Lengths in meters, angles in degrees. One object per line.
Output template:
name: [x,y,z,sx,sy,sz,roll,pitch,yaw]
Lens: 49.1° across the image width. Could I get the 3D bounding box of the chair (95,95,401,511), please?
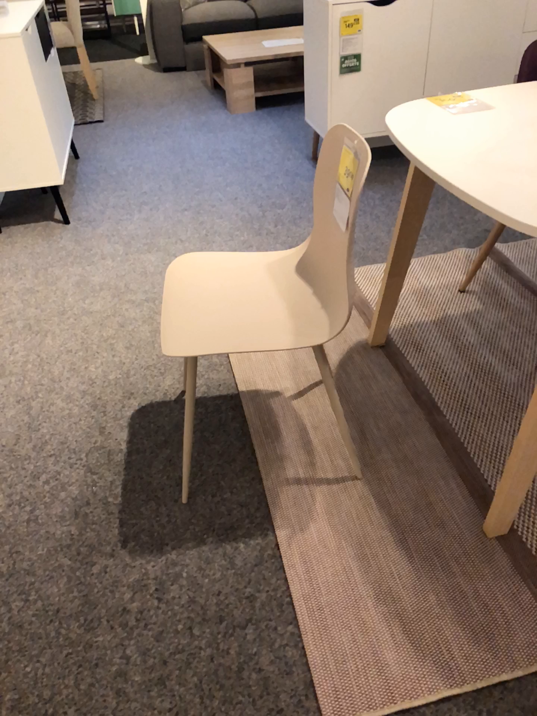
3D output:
chair: [-0.046,-0.125,1.380,0.500,0.765,0.503,-8,38,-5]
